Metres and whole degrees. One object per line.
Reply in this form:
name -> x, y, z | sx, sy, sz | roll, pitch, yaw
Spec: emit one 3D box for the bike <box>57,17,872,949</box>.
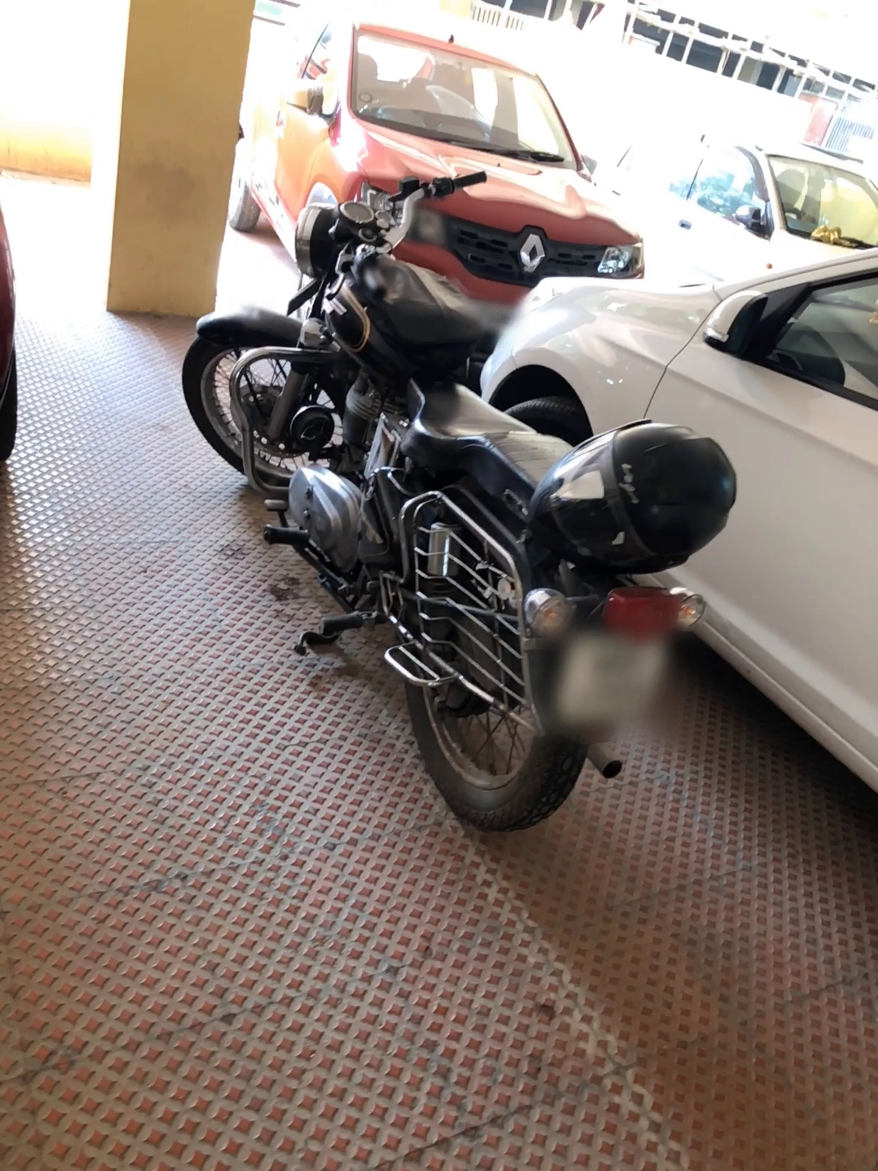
bike -> -0.219, -0.355, 2.255 | 0.693, 1.217, 1.788 | -8, 39, -36
